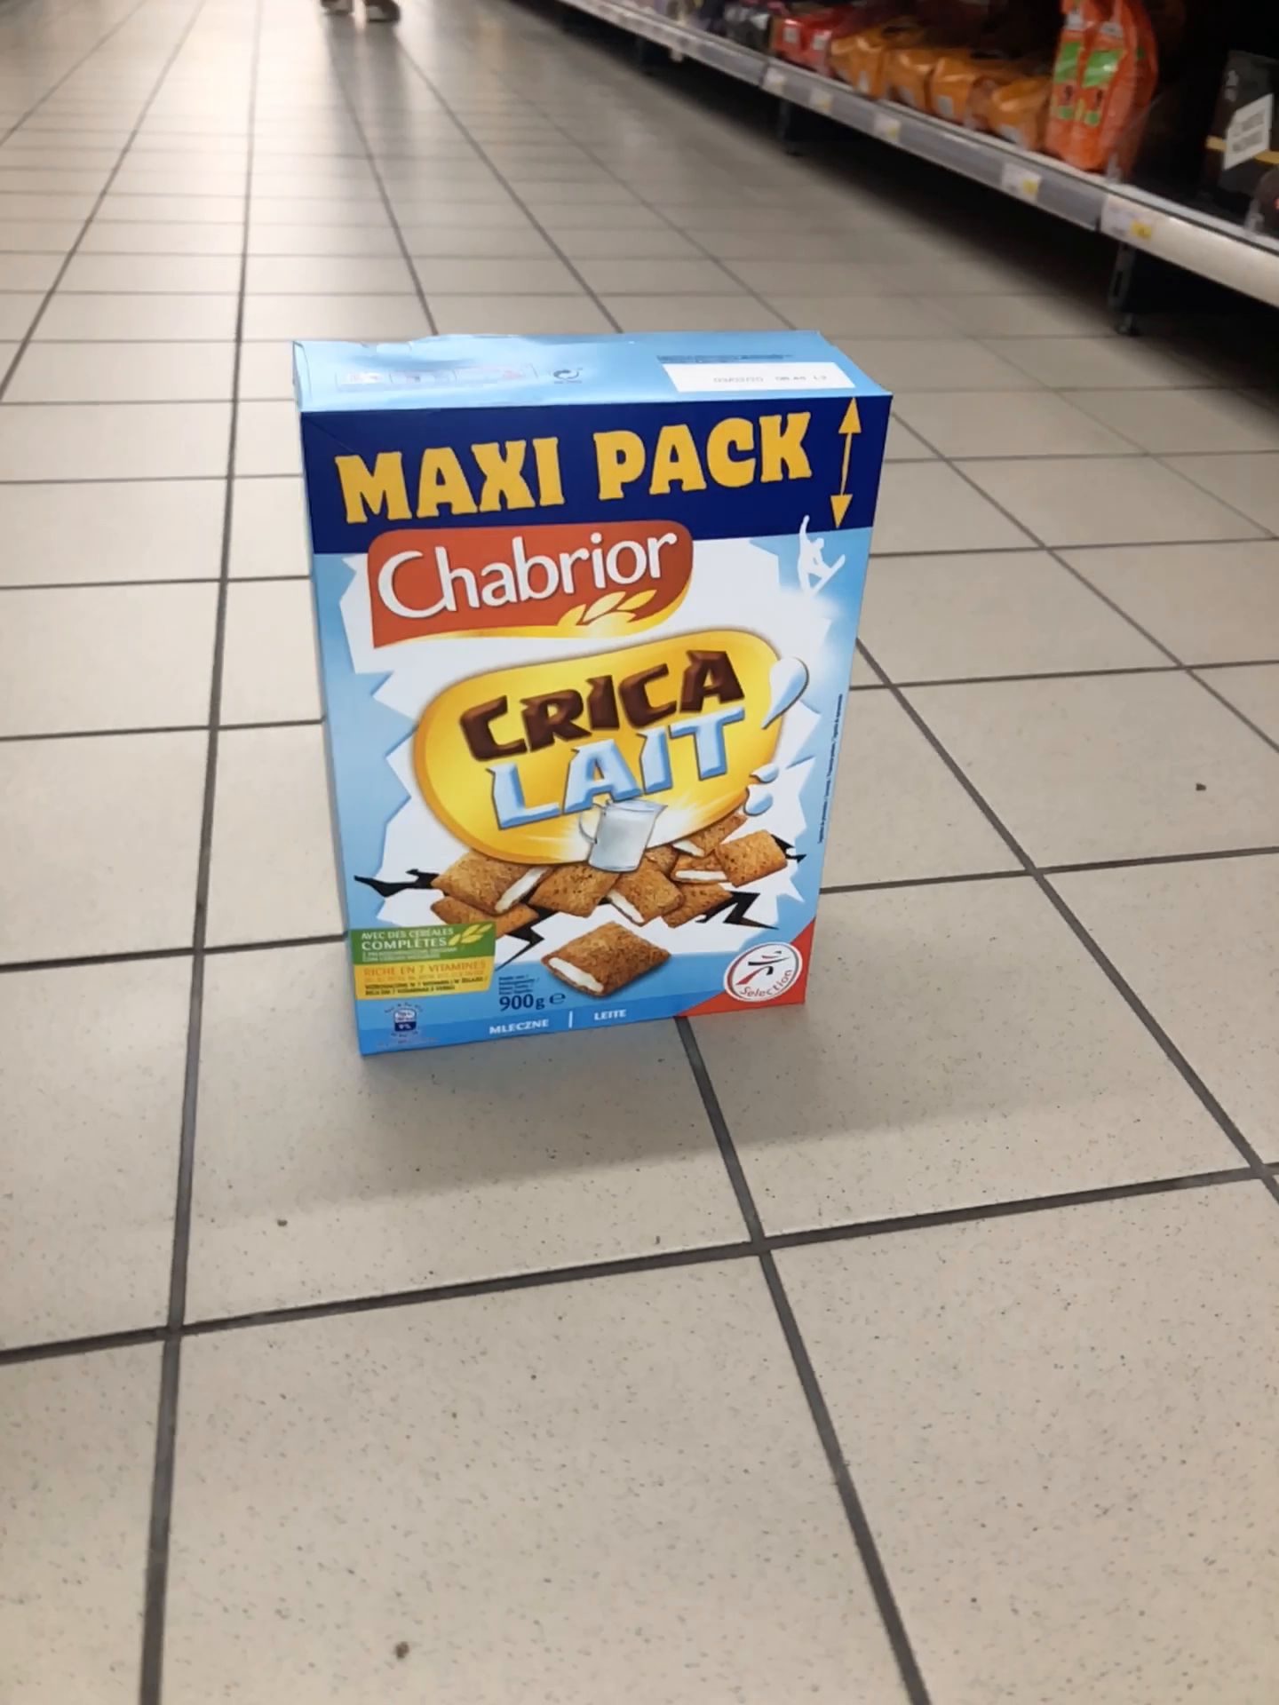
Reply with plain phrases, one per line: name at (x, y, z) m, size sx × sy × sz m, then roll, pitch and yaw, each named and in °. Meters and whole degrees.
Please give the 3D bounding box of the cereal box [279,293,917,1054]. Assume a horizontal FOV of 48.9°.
cereal box at (-0.022, -0.064, 0.545) m, size 0.200 × 0.268 × 0.090 m, roll -5°, pitch 35°, yaw -11°
